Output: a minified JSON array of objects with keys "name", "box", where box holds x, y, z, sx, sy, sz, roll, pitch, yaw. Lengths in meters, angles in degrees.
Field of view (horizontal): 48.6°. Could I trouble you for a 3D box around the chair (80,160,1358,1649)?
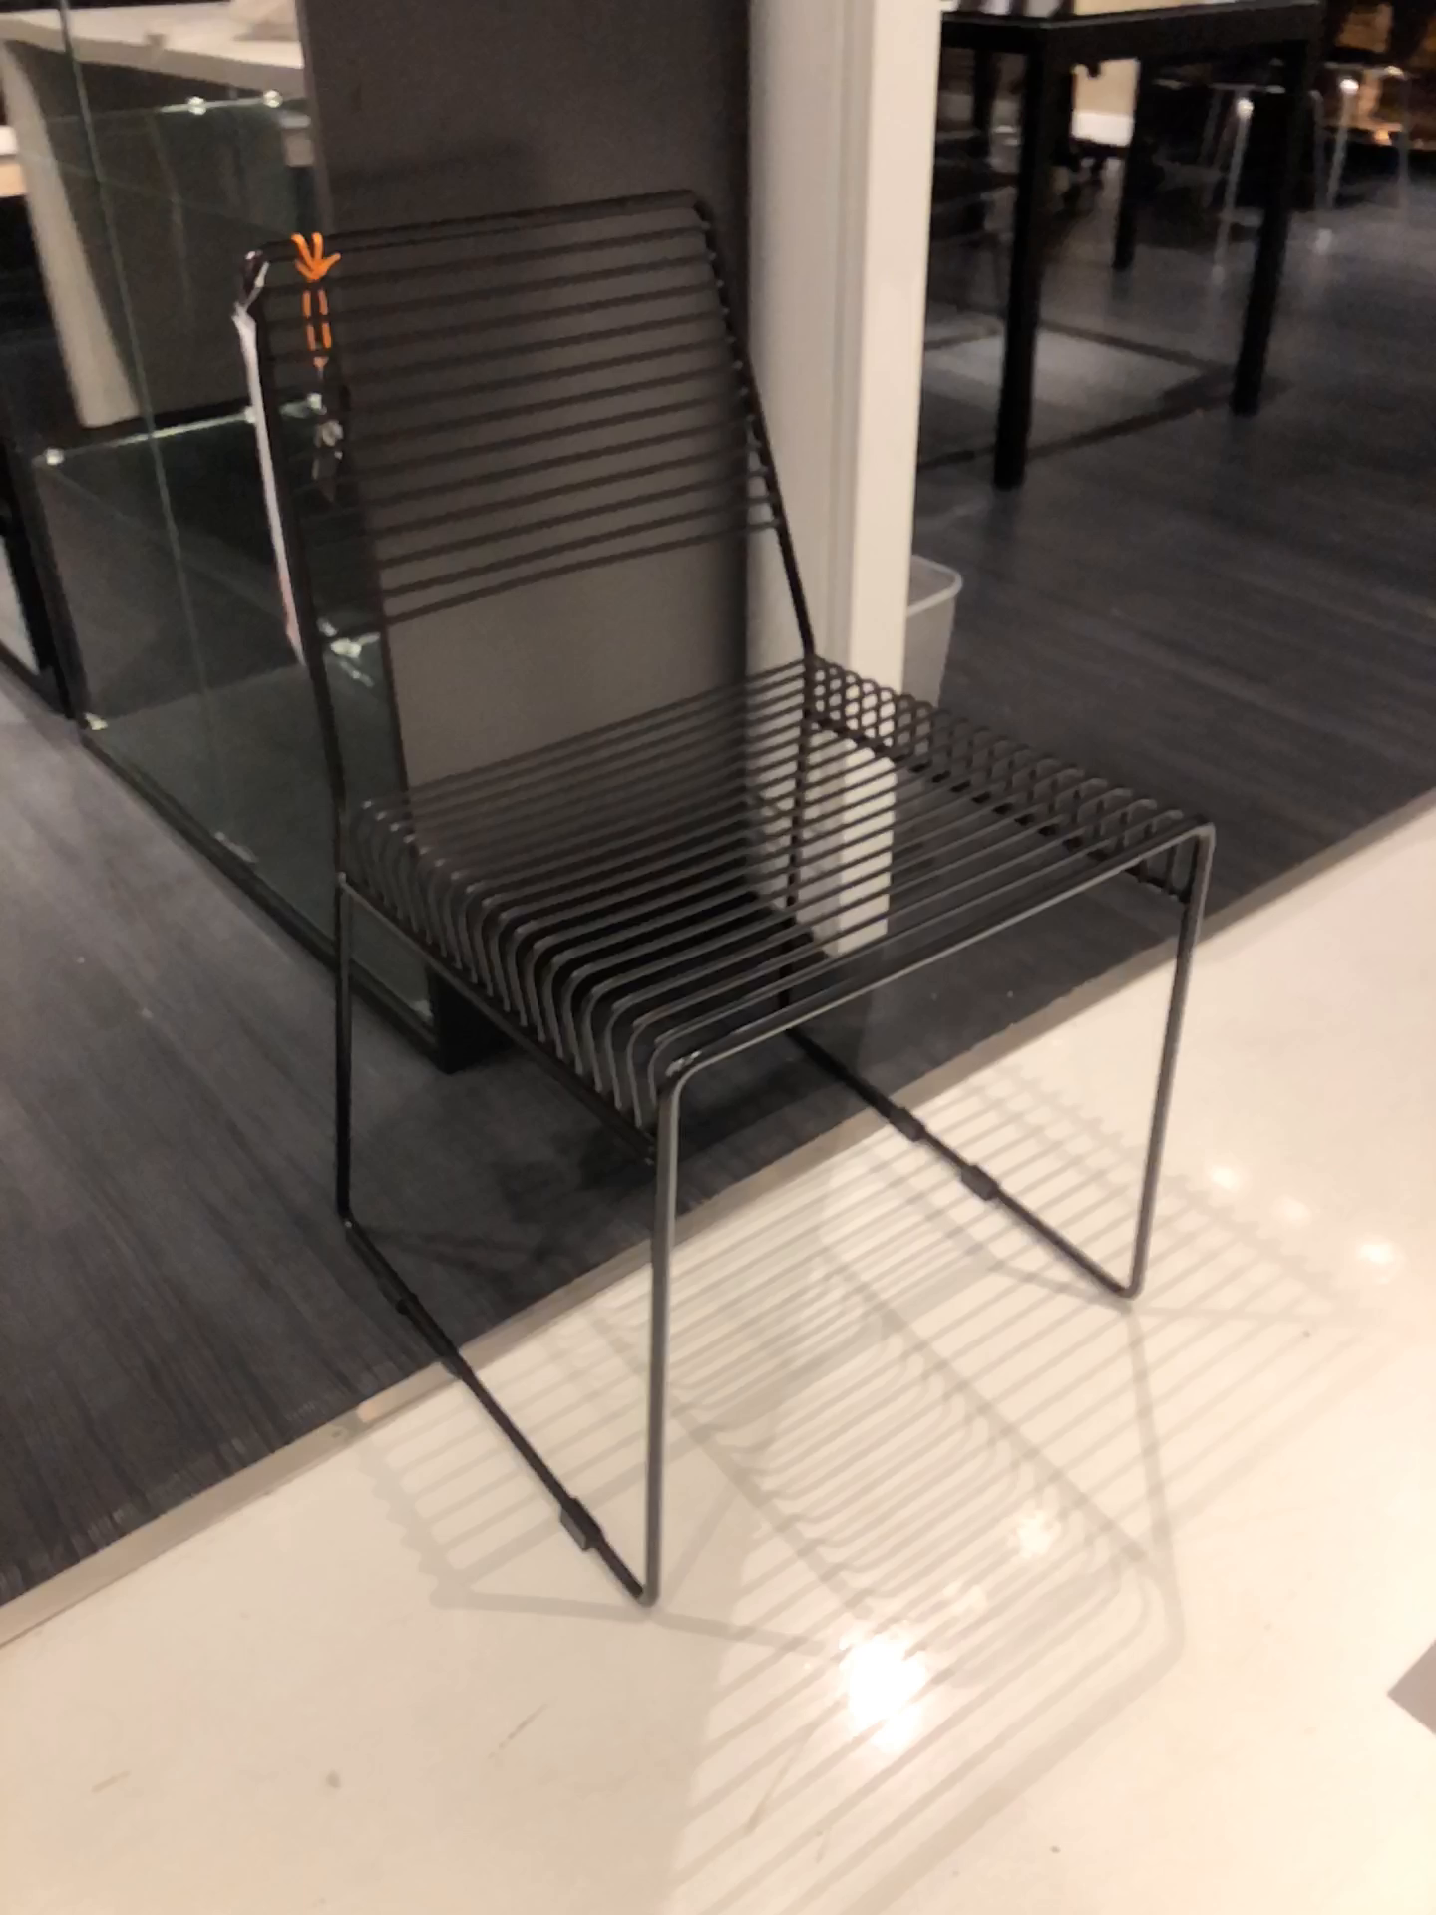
[{"name":"chair","box":[-0.011,-0.074,1.104,0.521,0.764,0.503,-23,40,-29]}]
